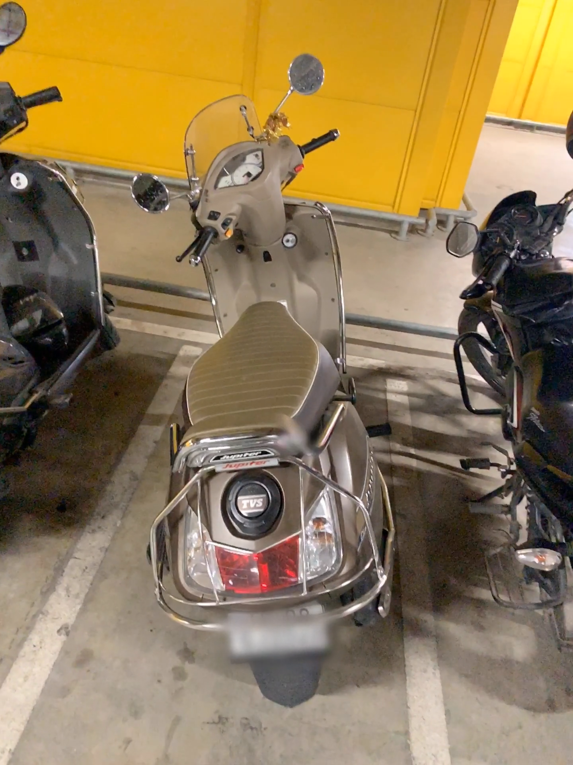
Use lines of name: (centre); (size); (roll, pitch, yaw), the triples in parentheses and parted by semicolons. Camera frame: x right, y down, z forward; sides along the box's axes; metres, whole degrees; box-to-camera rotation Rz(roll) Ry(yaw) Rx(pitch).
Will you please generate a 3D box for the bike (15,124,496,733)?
bike: (-0.167, -0.048, 1.677); (0.603, 1.027, 1.563); (3, 32, -8)
